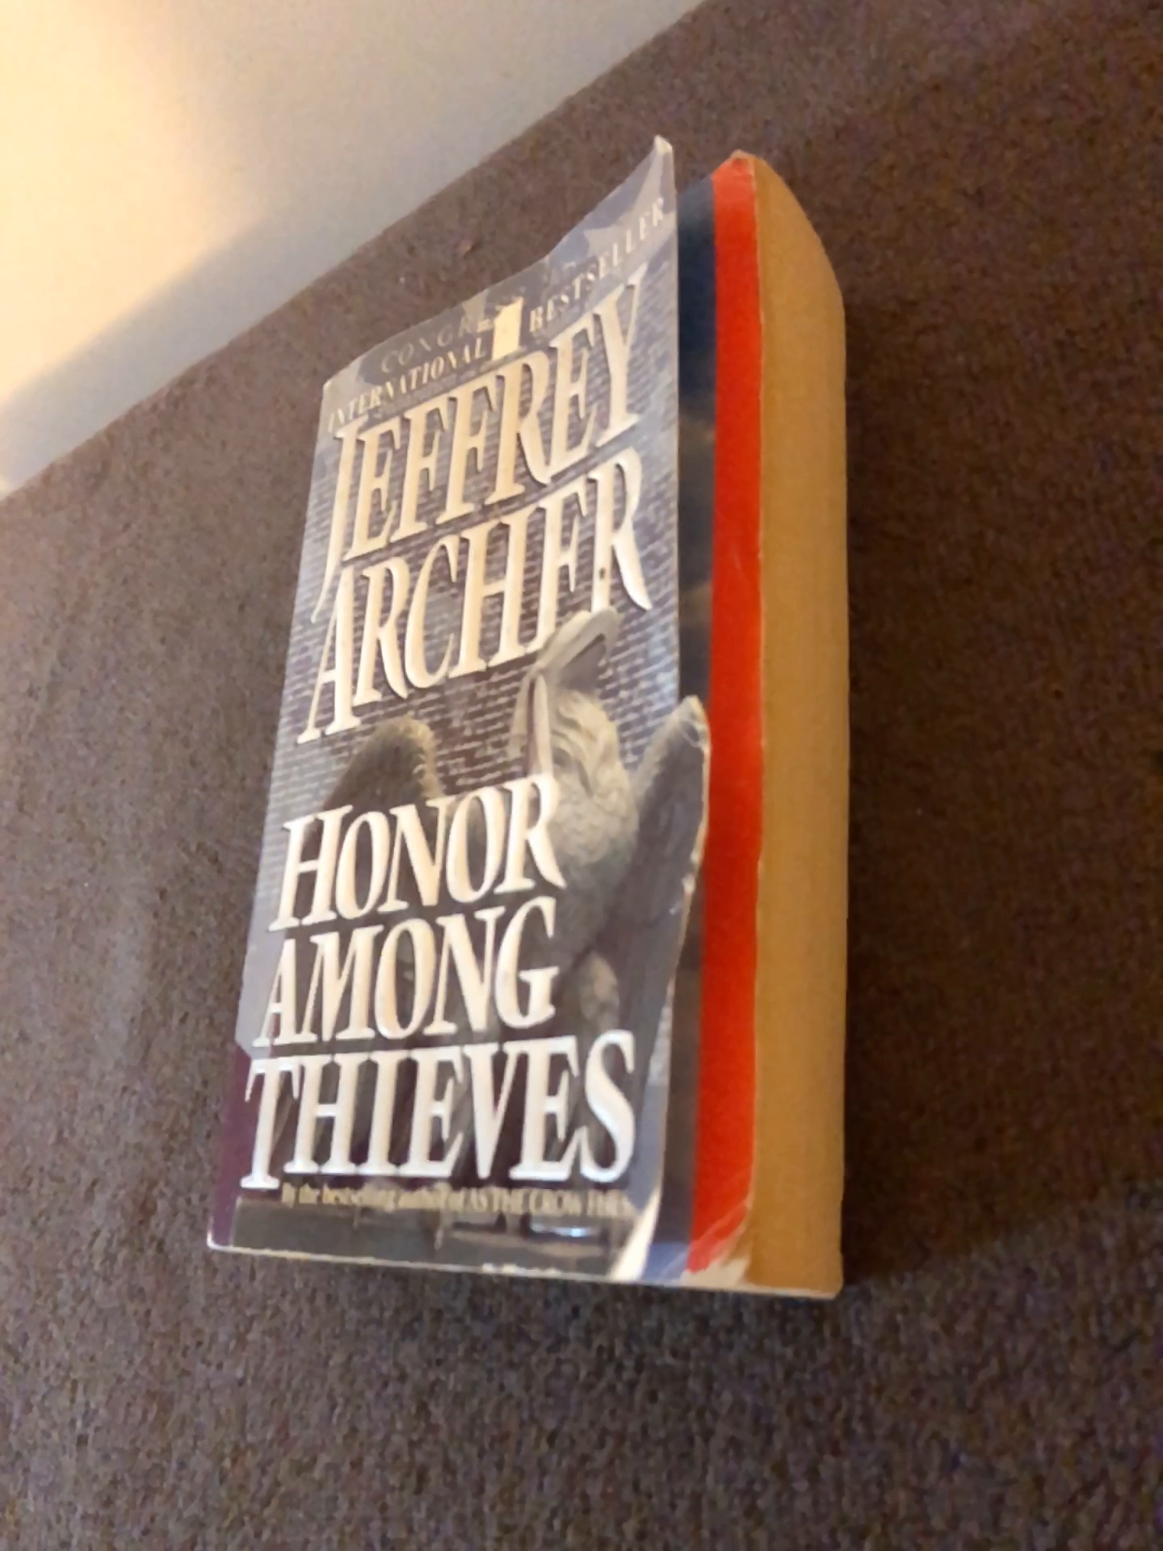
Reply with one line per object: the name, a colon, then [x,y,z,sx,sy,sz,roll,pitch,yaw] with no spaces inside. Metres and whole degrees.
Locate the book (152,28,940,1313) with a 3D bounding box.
book: [-0.006,-0.015,0.226,0.121,0.040,0.190,-11,66,36]
